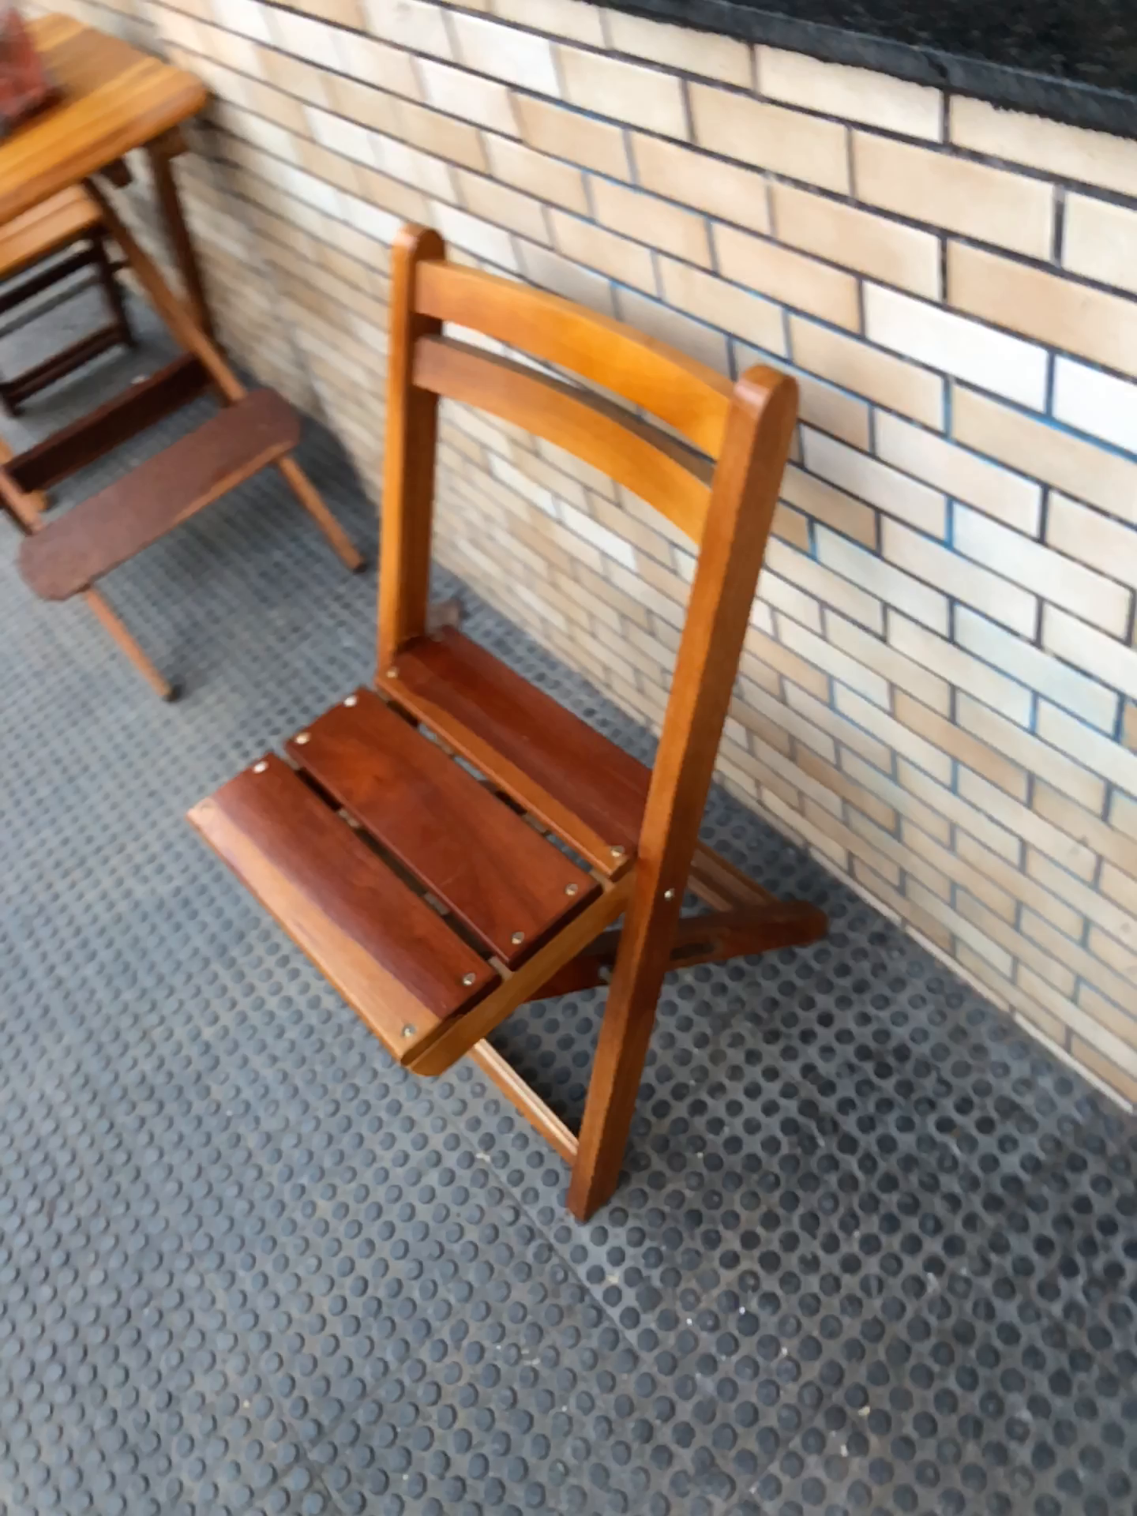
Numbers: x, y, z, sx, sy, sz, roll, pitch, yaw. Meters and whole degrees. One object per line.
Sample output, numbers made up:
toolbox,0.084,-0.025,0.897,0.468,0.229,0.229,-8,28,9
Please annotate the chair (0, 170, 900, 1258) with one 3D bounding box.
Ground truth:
chair,-0.048,-0.004,1.165,0.491,0.765,0.472,-40,53,-16
